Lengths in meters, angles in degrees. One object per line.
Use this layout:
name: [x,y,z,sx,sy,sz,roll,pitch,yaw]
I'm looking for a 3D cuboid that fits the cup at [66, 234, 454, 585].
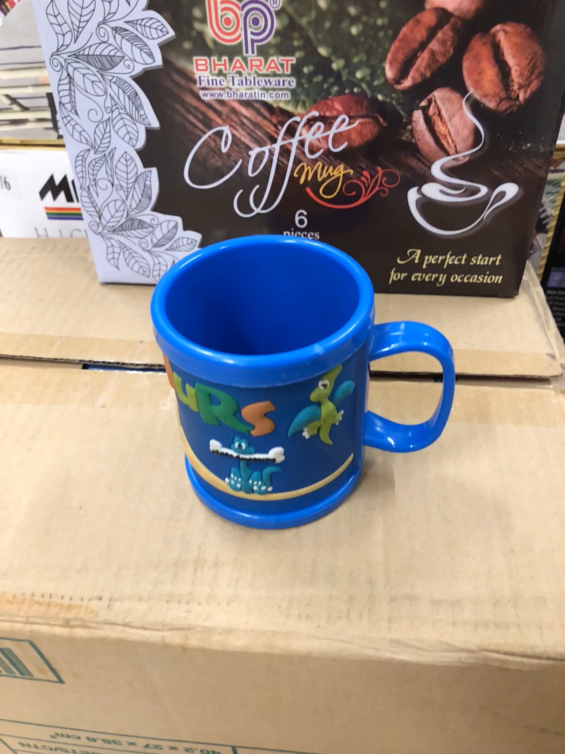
cup: [0.001,0.009,0.253,0.120,0.089,0.091,6,44,10]
